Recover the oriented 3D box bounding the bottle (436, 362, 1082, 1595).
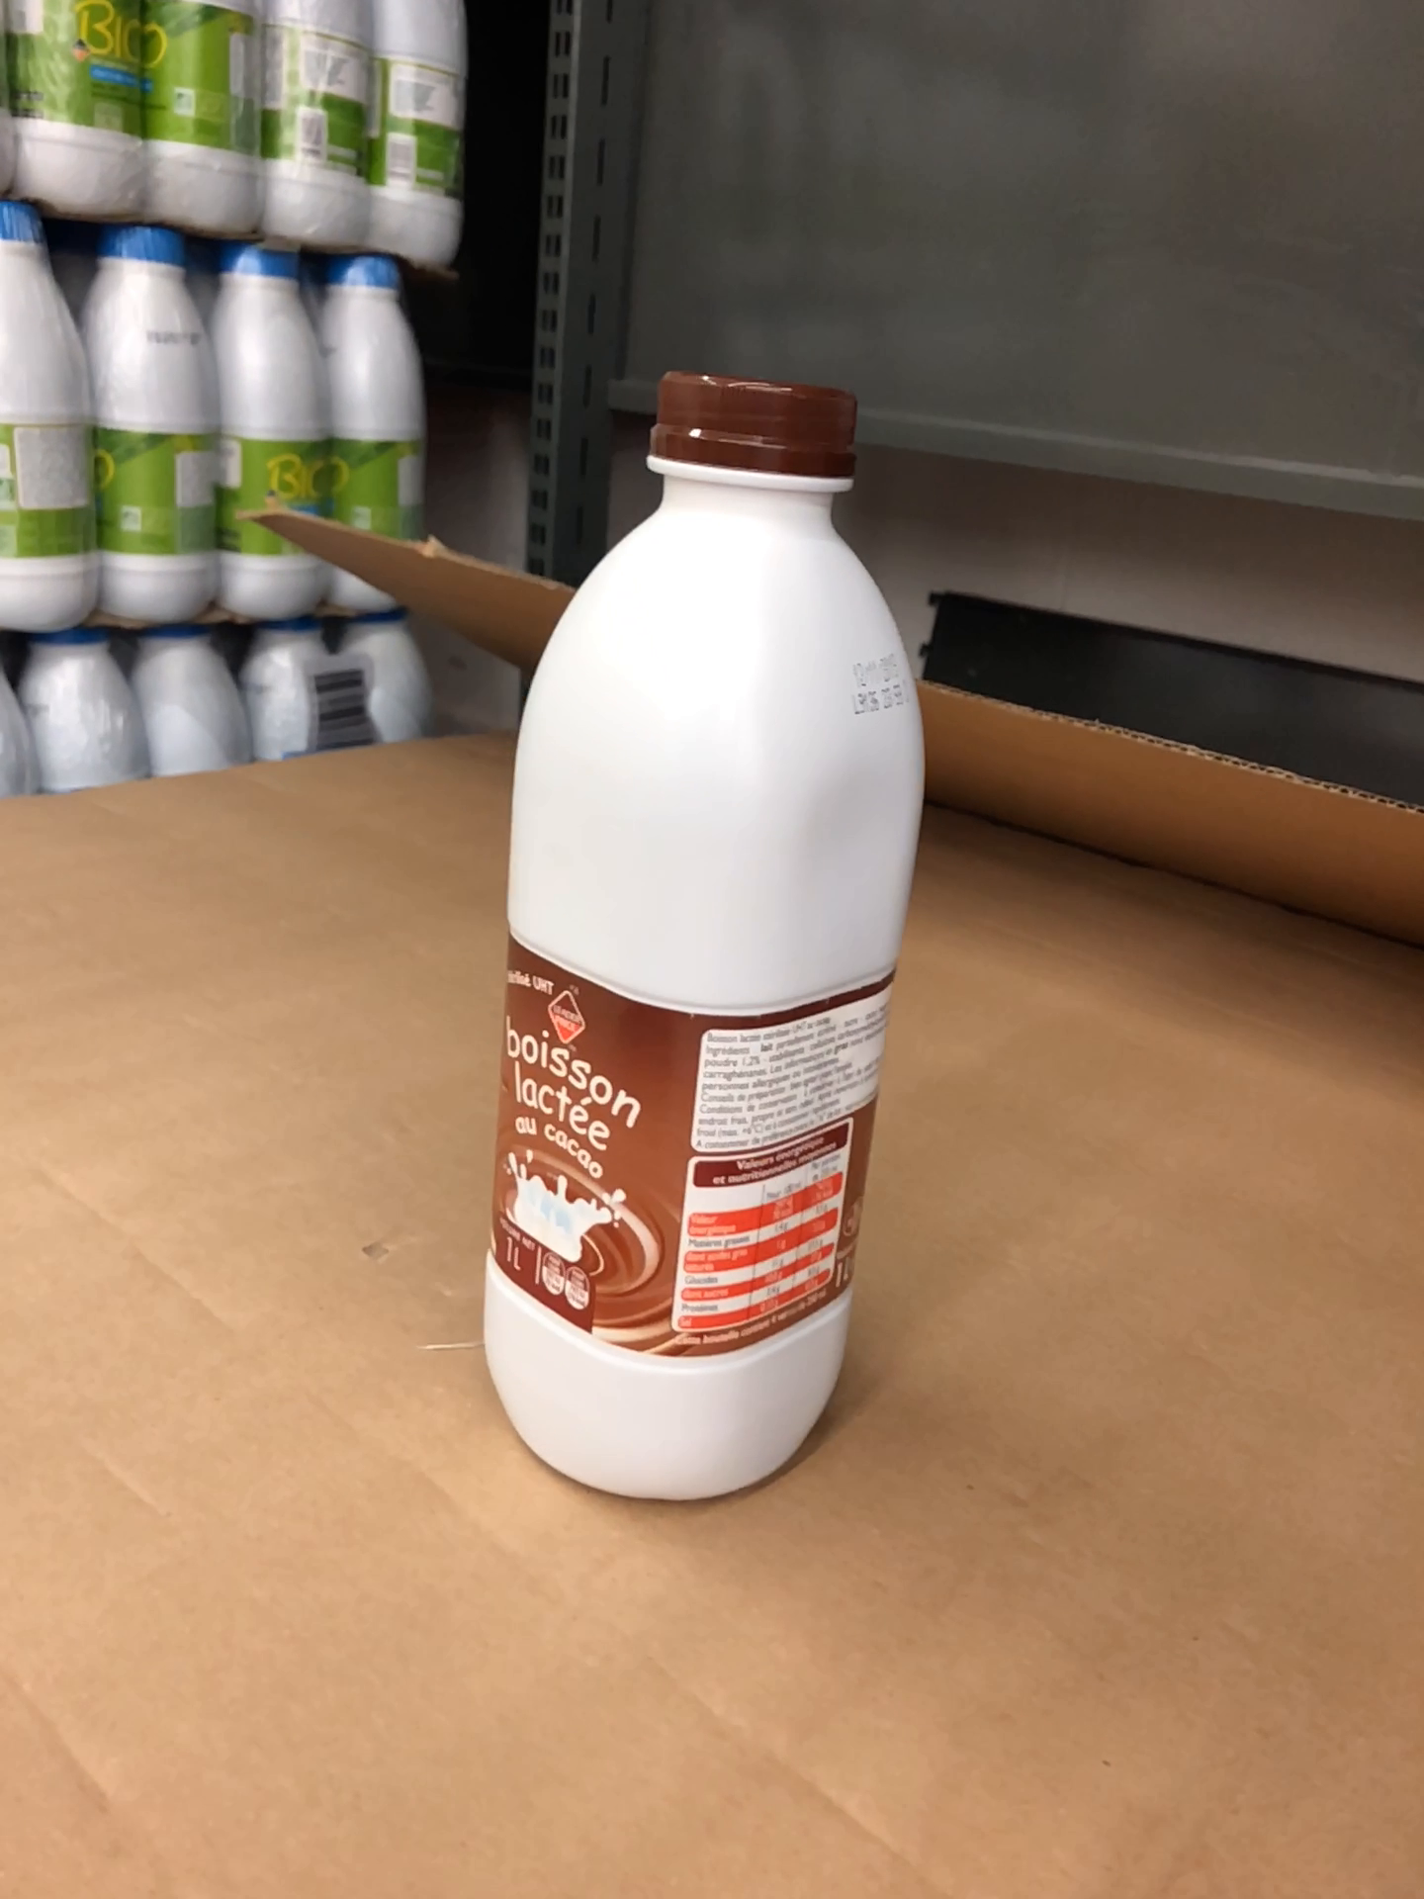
[{"bbox_3d":[0.002,0.003,0.347,0.090,0.239,0.080,21,25,37],"label":"bottle"}]
